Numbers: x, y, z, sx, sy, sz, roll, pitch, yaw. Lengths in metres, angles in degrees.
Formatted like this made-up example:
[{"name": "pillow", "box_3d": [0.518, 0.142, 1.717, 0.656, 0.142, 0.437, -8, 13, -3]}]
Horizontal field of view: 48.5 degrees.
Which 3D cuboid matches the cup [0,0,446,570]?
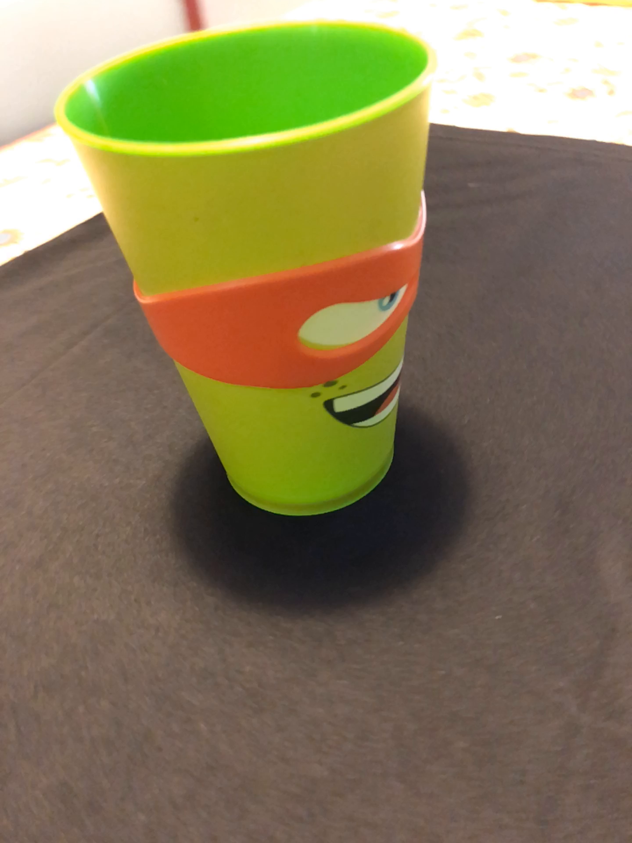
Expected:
[{"name": "cup", "box_3d": [-0.016, -0.039, 0.226, 0.110, 0.139, 0.101, -5, 43, 5]}]
